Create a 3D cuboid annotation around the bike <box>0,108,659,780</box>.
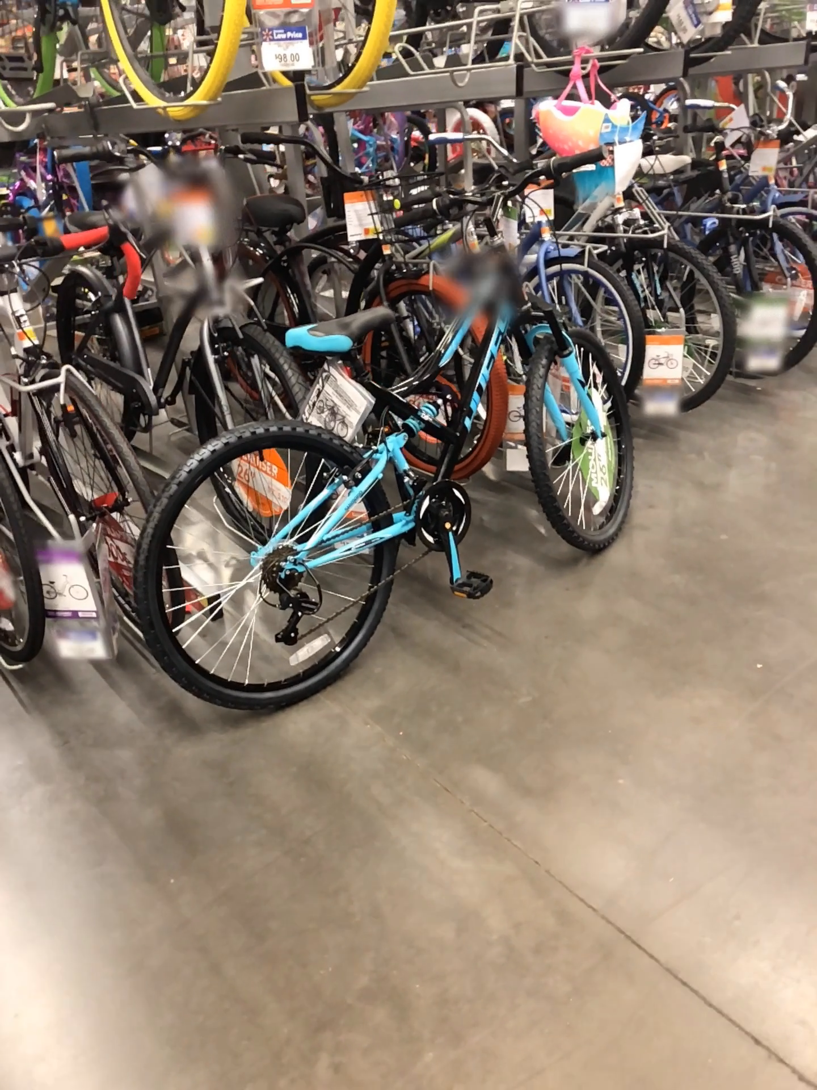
[{"bbox_3d":[-0.053,-0.433,2.362,1.710,1.121,0.545,-29,37,-36],"label":"bike"}]
